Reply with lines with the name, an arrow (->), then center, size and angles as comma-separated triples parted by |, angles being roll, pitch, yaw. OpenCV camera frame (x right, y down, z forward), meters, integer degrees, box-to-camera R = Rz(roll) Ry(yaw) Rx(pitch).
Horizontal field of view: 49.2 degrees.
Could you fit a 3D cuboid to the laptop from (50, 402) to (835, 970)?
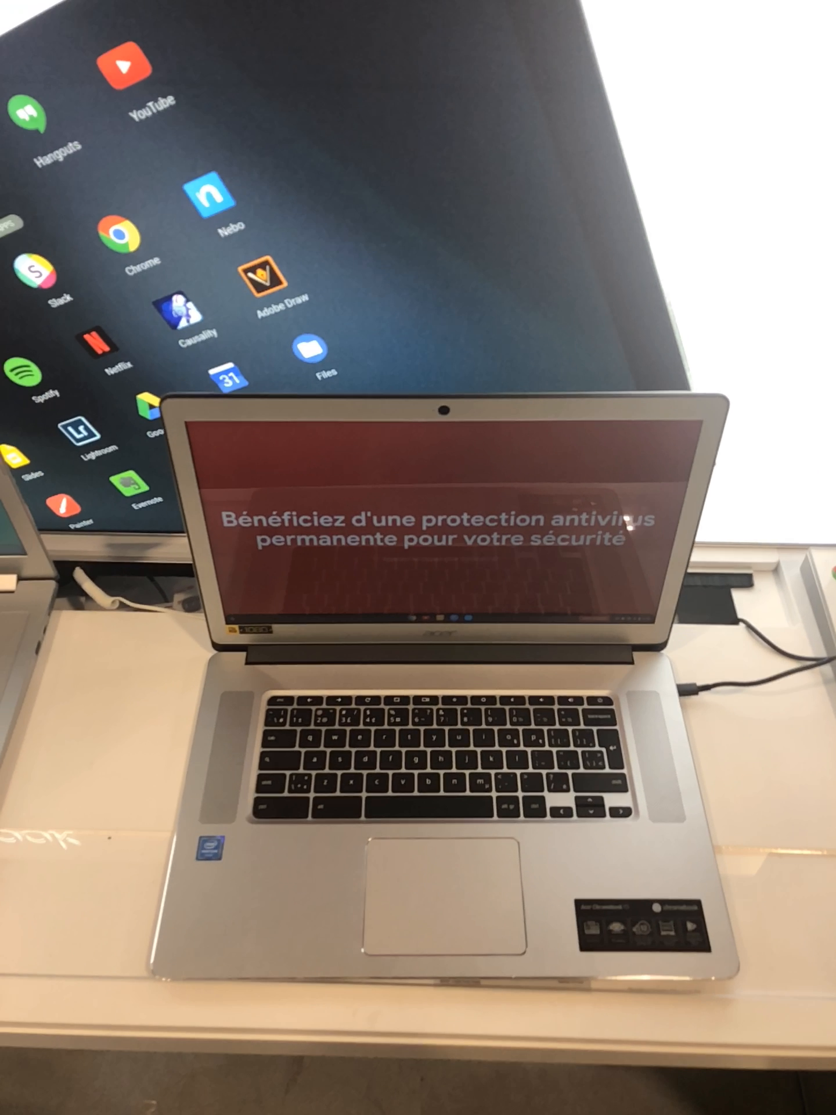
laptop -> 0.018, 0.083, 0.600 | 0.371, 0.243, 0.283 | 0, 49, -1
